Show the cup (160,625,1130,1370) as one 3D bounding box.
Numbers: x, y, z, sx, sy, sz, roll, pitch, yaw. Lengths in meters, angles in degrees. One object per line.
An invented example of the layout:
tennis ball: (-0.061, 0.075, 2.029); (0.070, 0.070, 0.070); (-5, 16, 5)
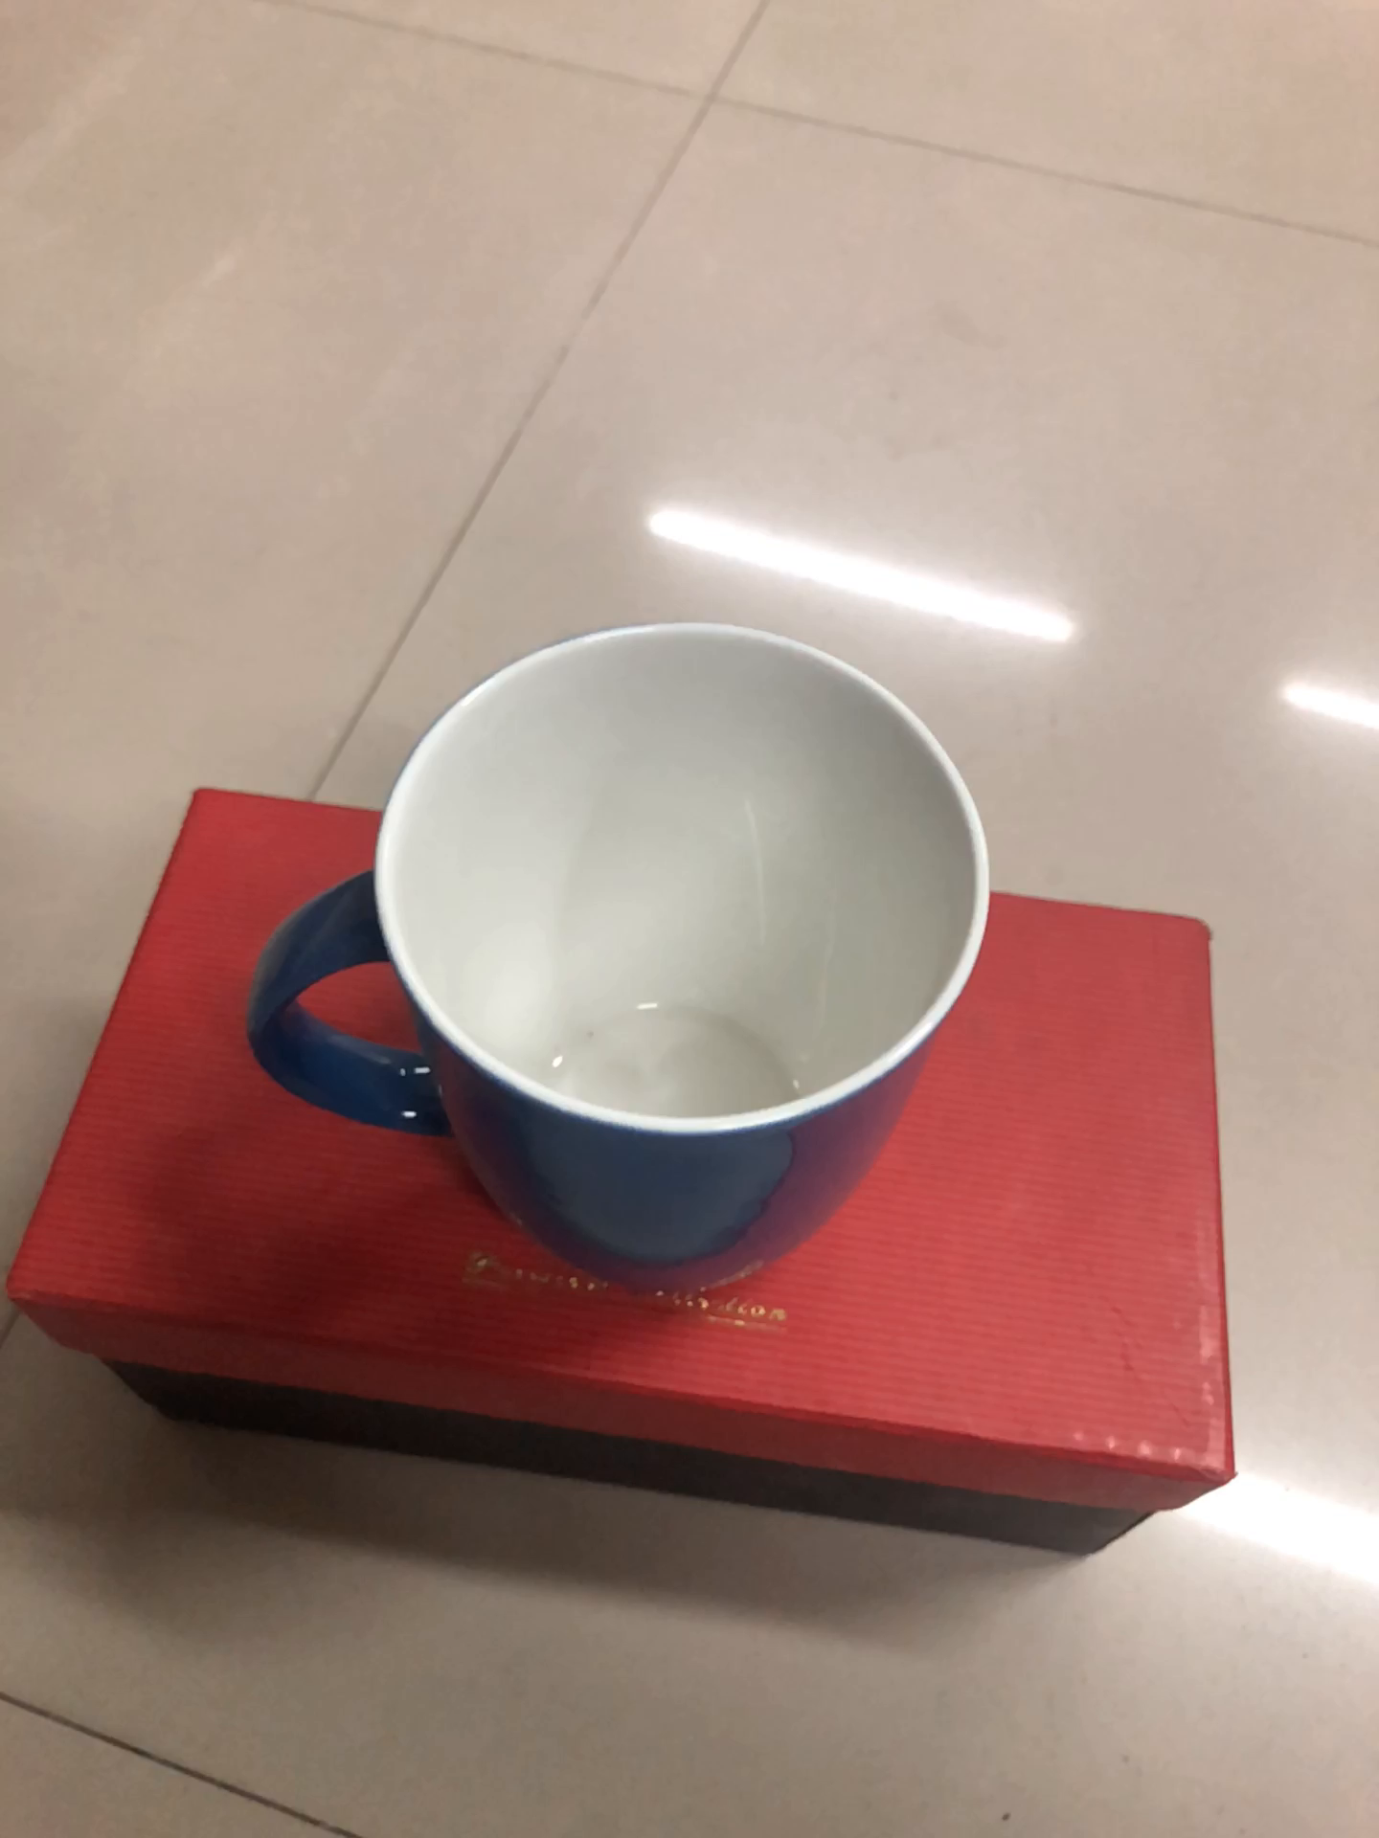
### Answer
cup: (-0.007, 0.014, 0.230); (0.110, 0.080, 0.080); (-1, 58, -3)
